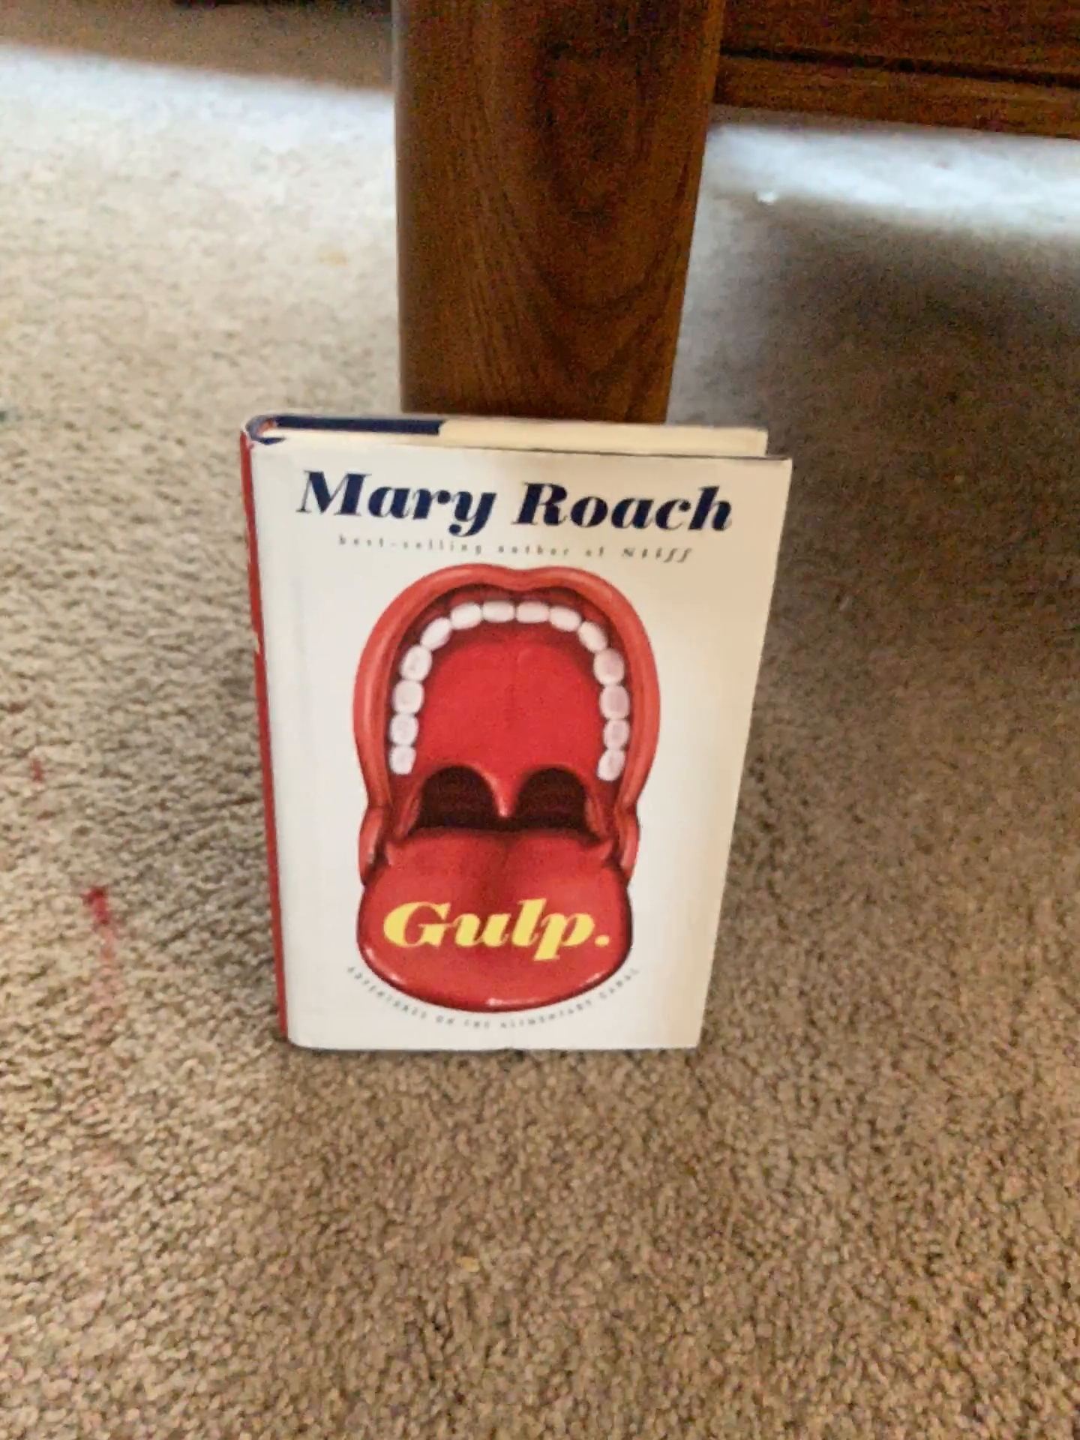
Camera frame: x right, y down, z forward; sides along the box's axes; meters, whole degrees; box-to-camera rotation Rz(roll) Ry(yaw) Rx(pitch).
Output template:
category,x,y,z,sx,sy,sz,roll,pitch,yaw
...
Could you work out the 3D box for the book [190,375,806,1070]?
category,x,y,z,sx,sy,sz,roll,pitch,yaw
book,-0.016,0.014,0.364,0.160,0.229,0.040,2,28,-3
